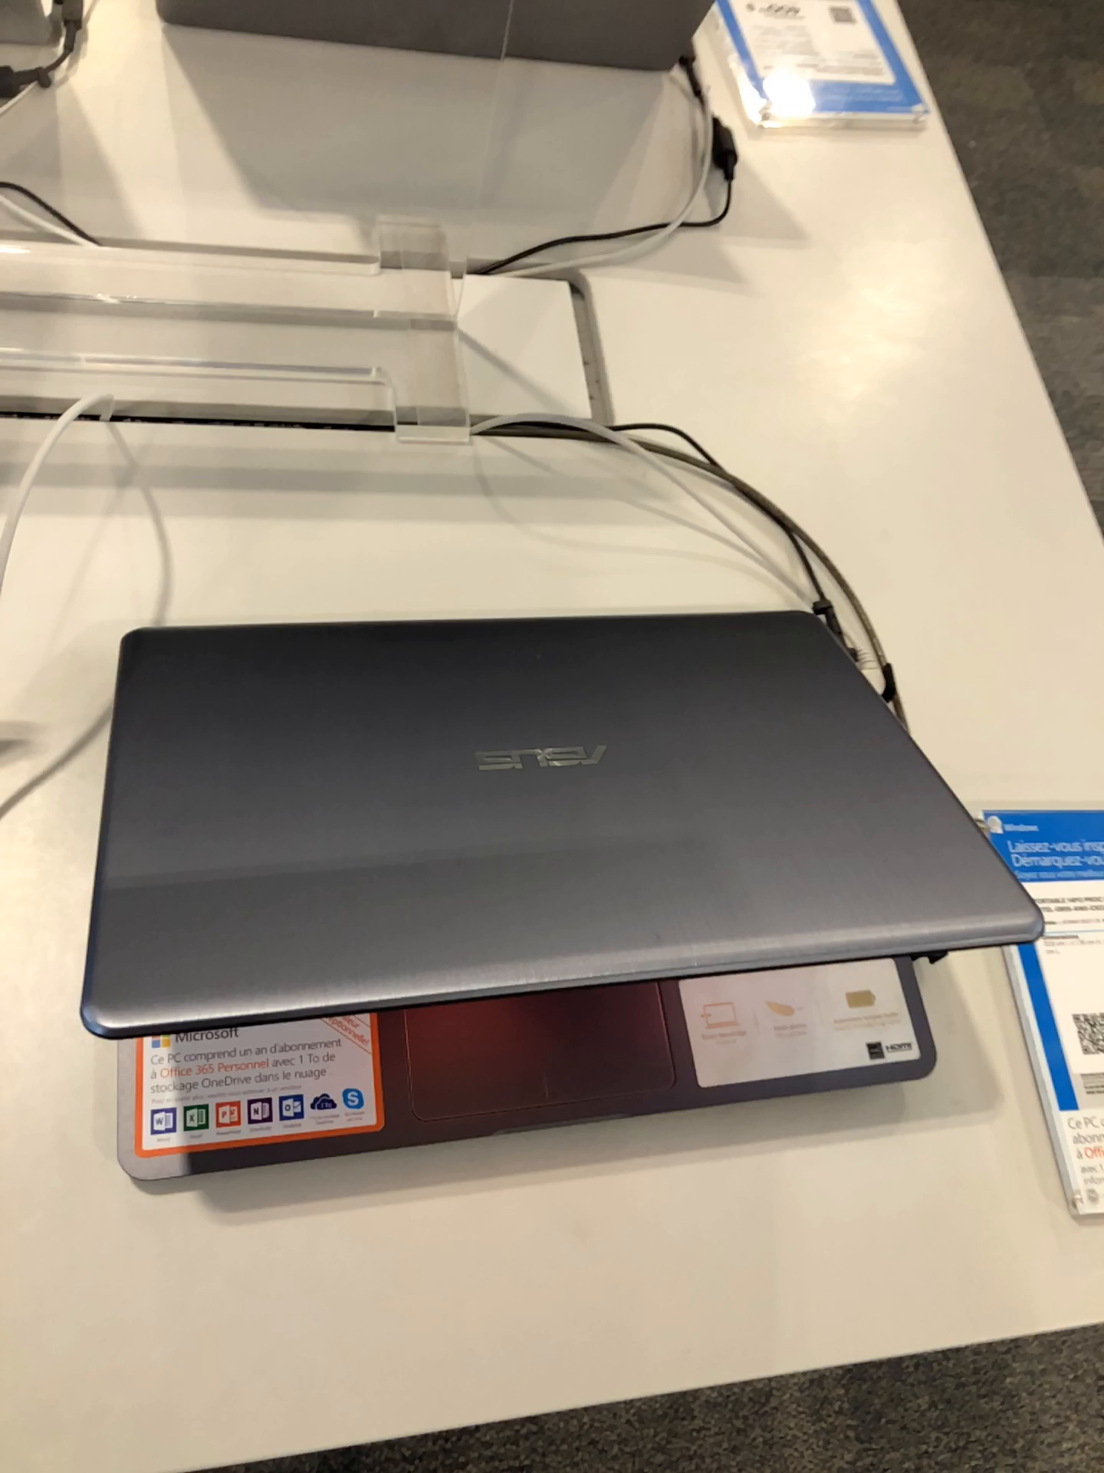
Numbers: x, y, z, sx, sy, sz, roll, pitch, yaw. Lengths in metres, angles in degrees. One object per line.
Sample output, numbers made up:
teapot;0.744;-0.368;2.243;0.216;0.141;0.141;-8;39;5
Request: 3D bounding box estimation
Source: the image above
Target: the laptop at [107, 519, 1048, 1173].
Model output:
laptop;-0.003;0.031;0.459;0.300;0.099;0.201;-3;64;-15
